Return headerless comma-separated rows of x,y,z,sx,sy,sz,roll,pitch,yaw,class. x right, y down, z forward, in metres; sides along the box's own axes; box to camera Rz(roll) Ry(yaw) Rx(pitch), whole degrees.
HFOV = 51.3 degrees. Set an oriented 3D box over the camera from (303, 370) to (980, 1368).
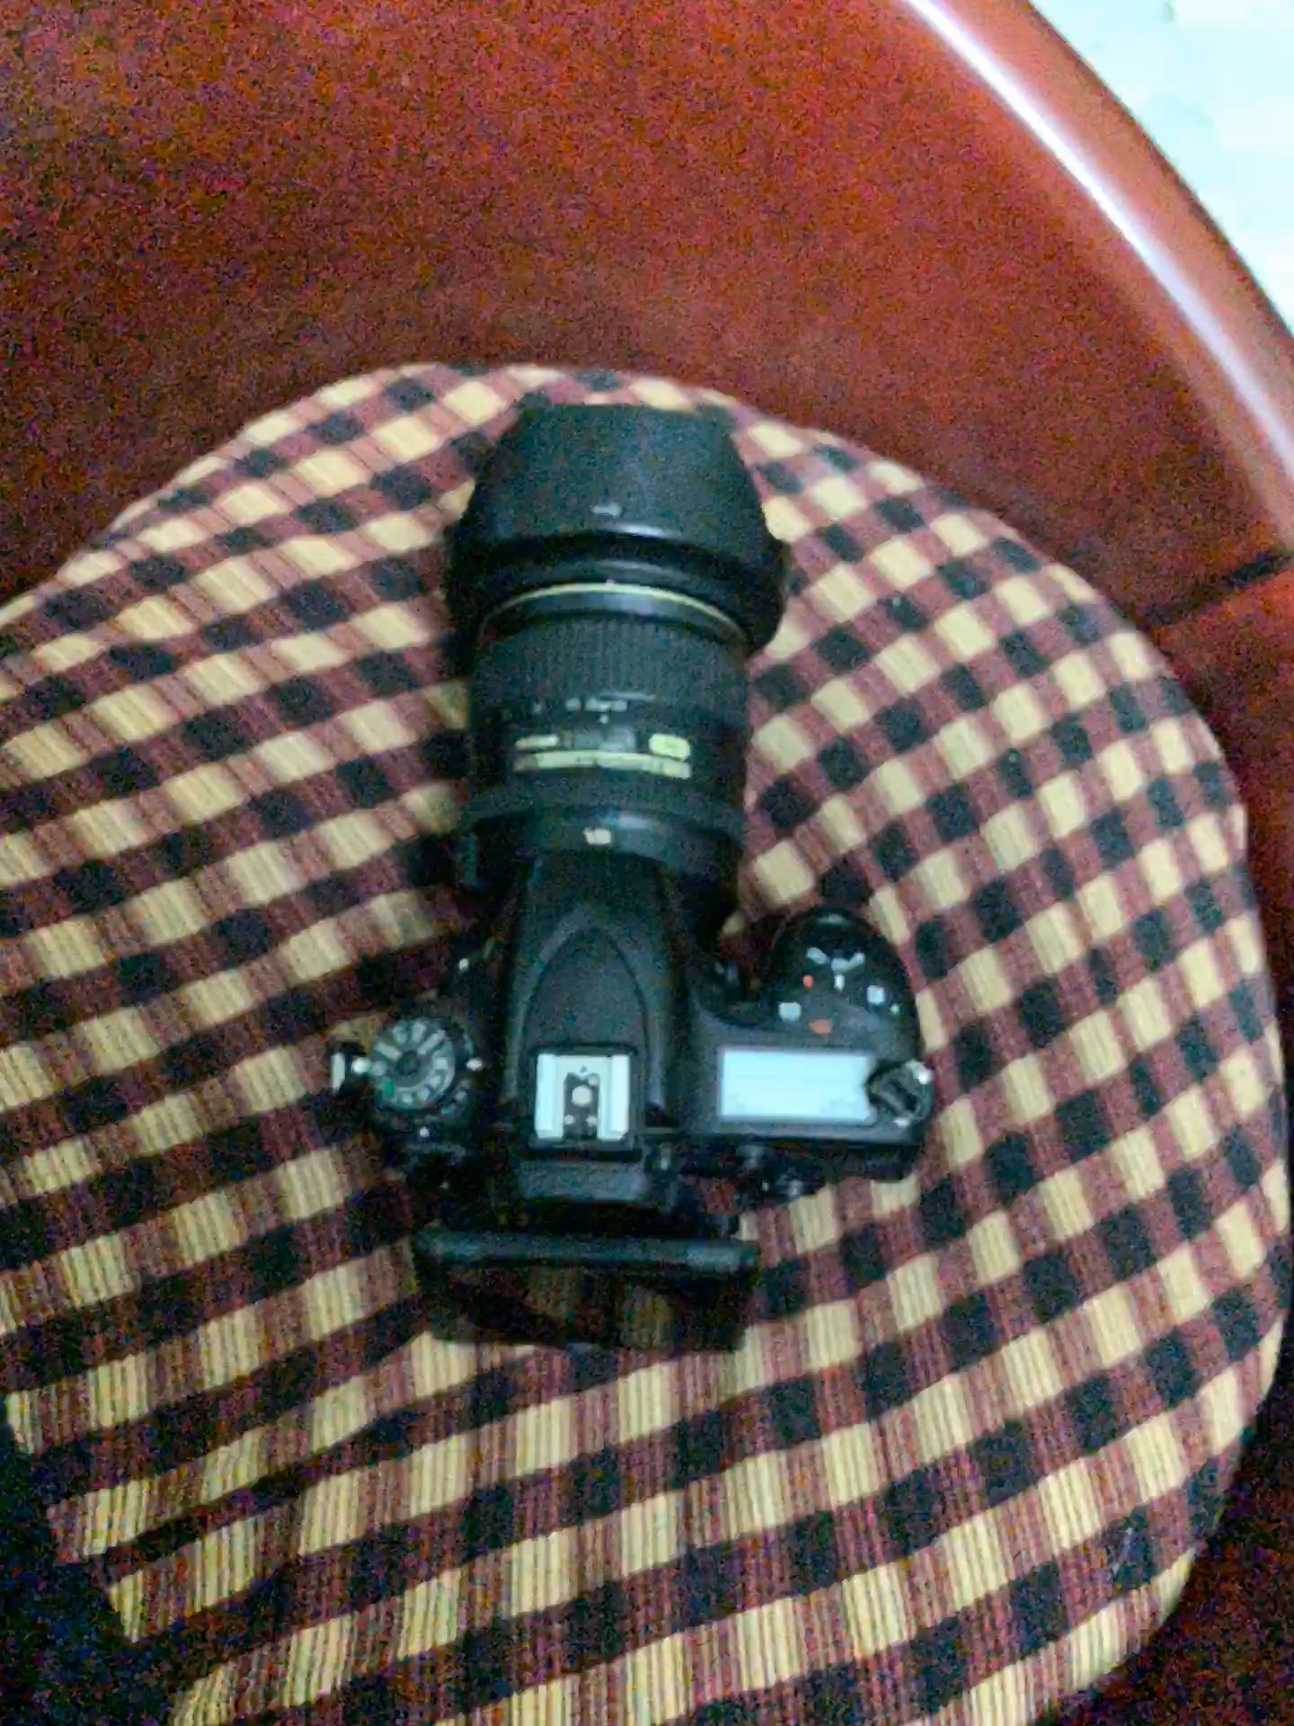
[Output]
0.004,0.002,0.370,0.140,0.101,0.250,2,69,1,camera
